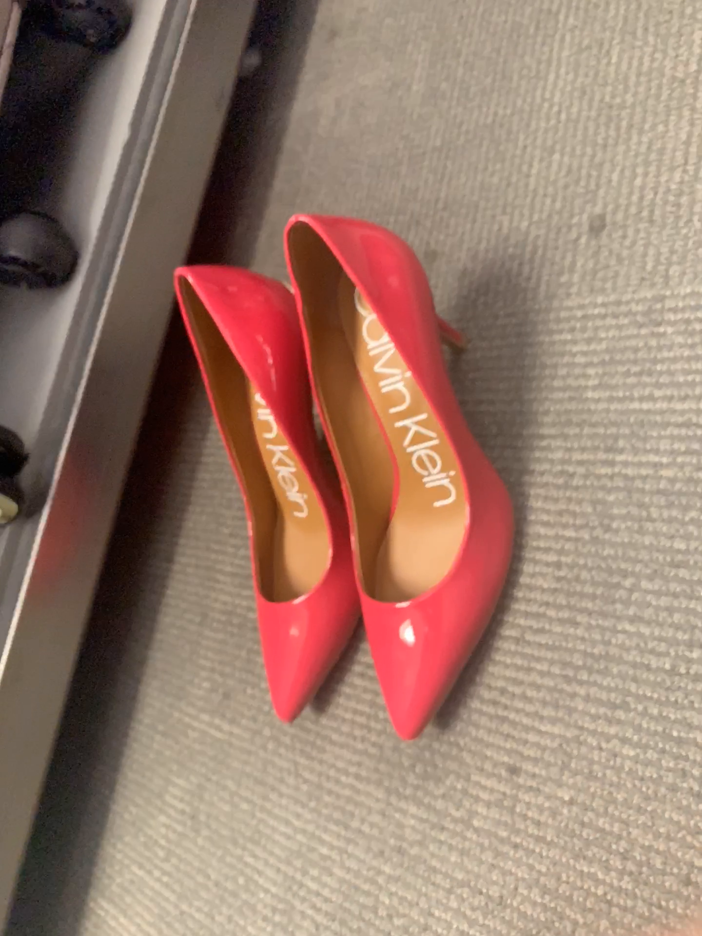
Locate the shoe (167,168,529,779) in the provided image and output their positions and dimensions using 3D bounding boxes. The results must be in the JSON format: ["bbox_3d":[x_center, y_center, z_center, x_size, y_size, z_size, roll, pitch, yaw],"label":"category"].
[{"bbox_3d":[0.010,0.009,0.318,0.074,0.120,0.216,-6,72,40],"label":"shoe"}]

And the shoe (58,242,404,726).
[{"bbox_3d":[-0.050,0.018,0.377,0.075,0.129,0.208,-6,72,40],"label":"shoe"}]
